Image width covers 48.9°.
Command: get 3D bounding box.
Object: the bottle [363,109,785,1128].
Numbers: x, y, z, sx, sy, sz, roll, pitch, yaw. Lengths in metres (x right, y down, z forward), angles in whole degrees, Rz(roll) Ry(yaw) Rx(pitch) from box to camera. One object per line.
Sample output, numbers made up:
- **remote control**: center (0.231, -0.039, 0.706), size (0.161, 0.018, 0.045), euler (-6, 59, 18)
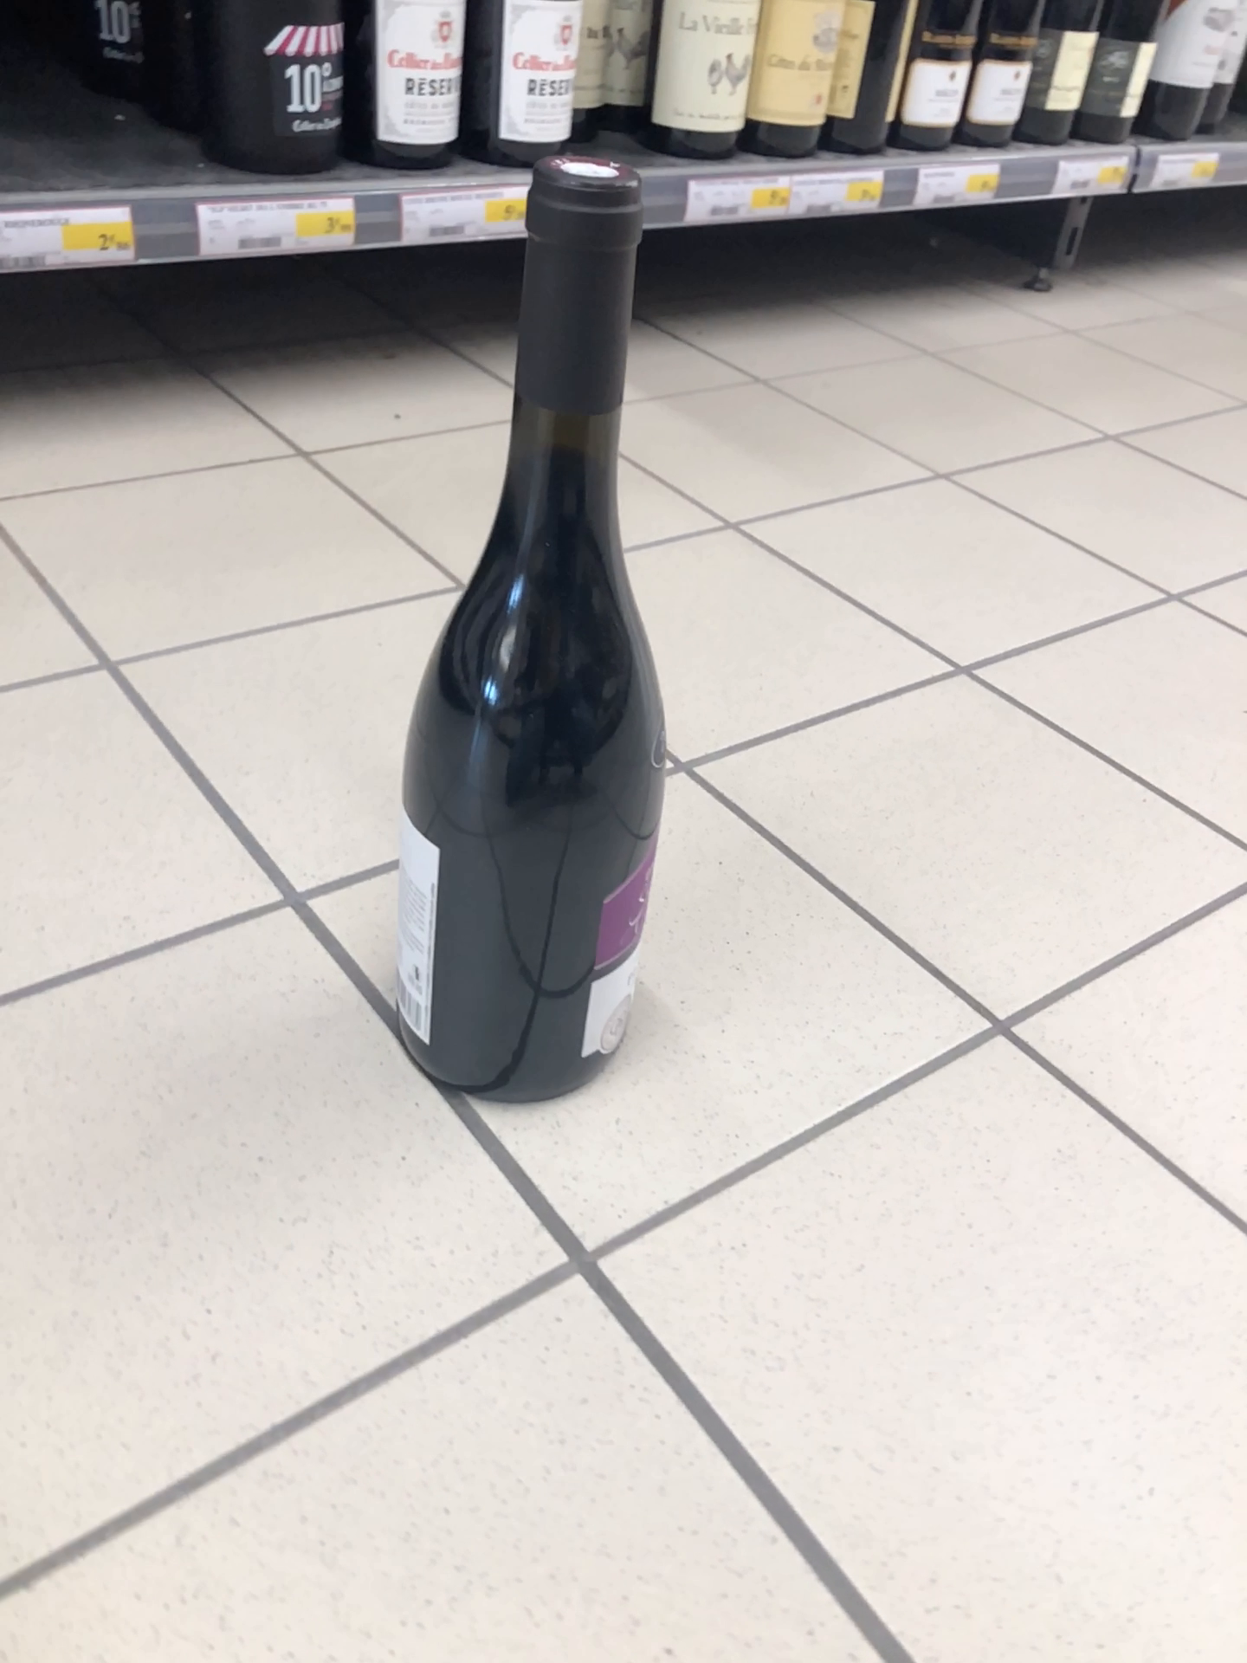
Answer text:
- **bottle**: center (-0.029, -0.045, 0.413), size (0.090, 0.288, 0.091), euler (5, 36, -4)
